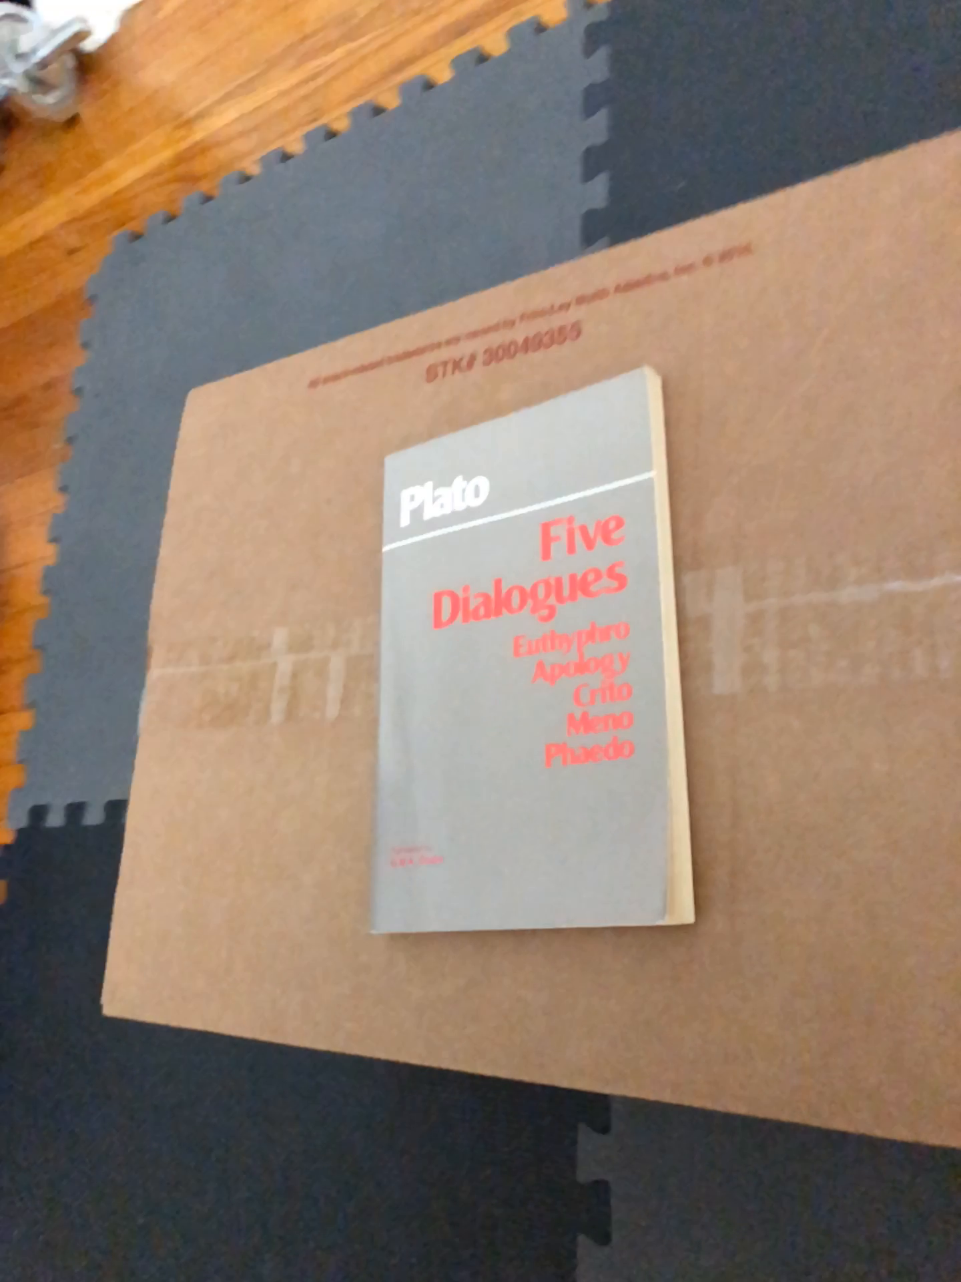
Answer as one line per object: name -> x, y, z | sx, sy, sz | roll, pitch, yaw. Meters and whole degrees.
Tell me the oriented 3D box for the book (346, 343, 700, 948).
book -> 0.009, 0.005, 0.421 | 0.140, 0.020, 0.220 | -13, 68, 32
